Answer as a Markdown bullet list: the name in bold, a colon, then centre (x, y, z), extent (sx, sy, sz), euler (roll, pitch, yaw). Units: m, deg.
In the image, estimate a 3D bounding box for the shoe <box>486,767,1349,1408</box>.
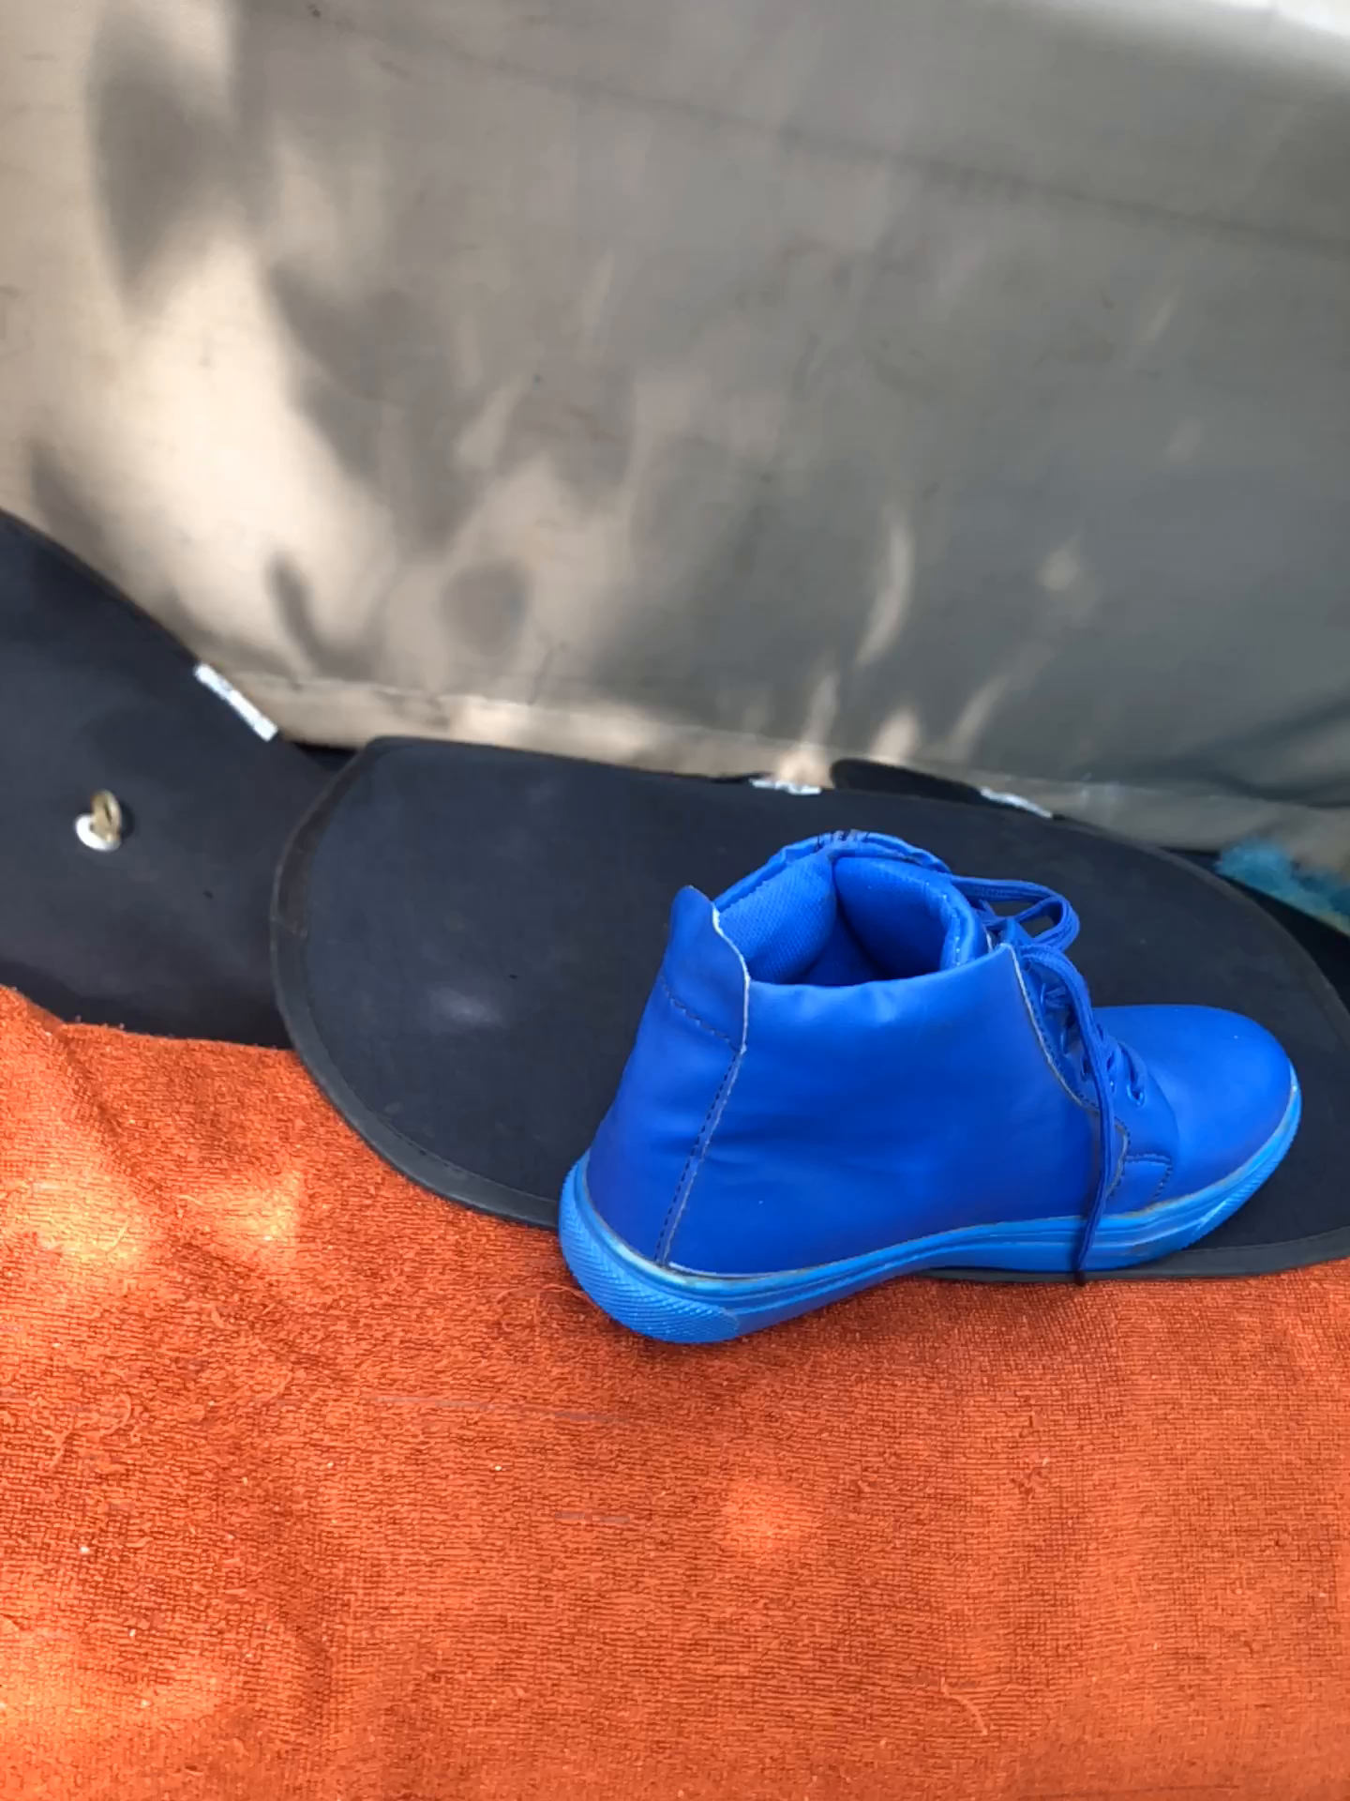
- **shoe**: centre (0.102, 0.047, 0.482), extent (0.291, 0.139, 0.100), euler (-4, 38, -25)
